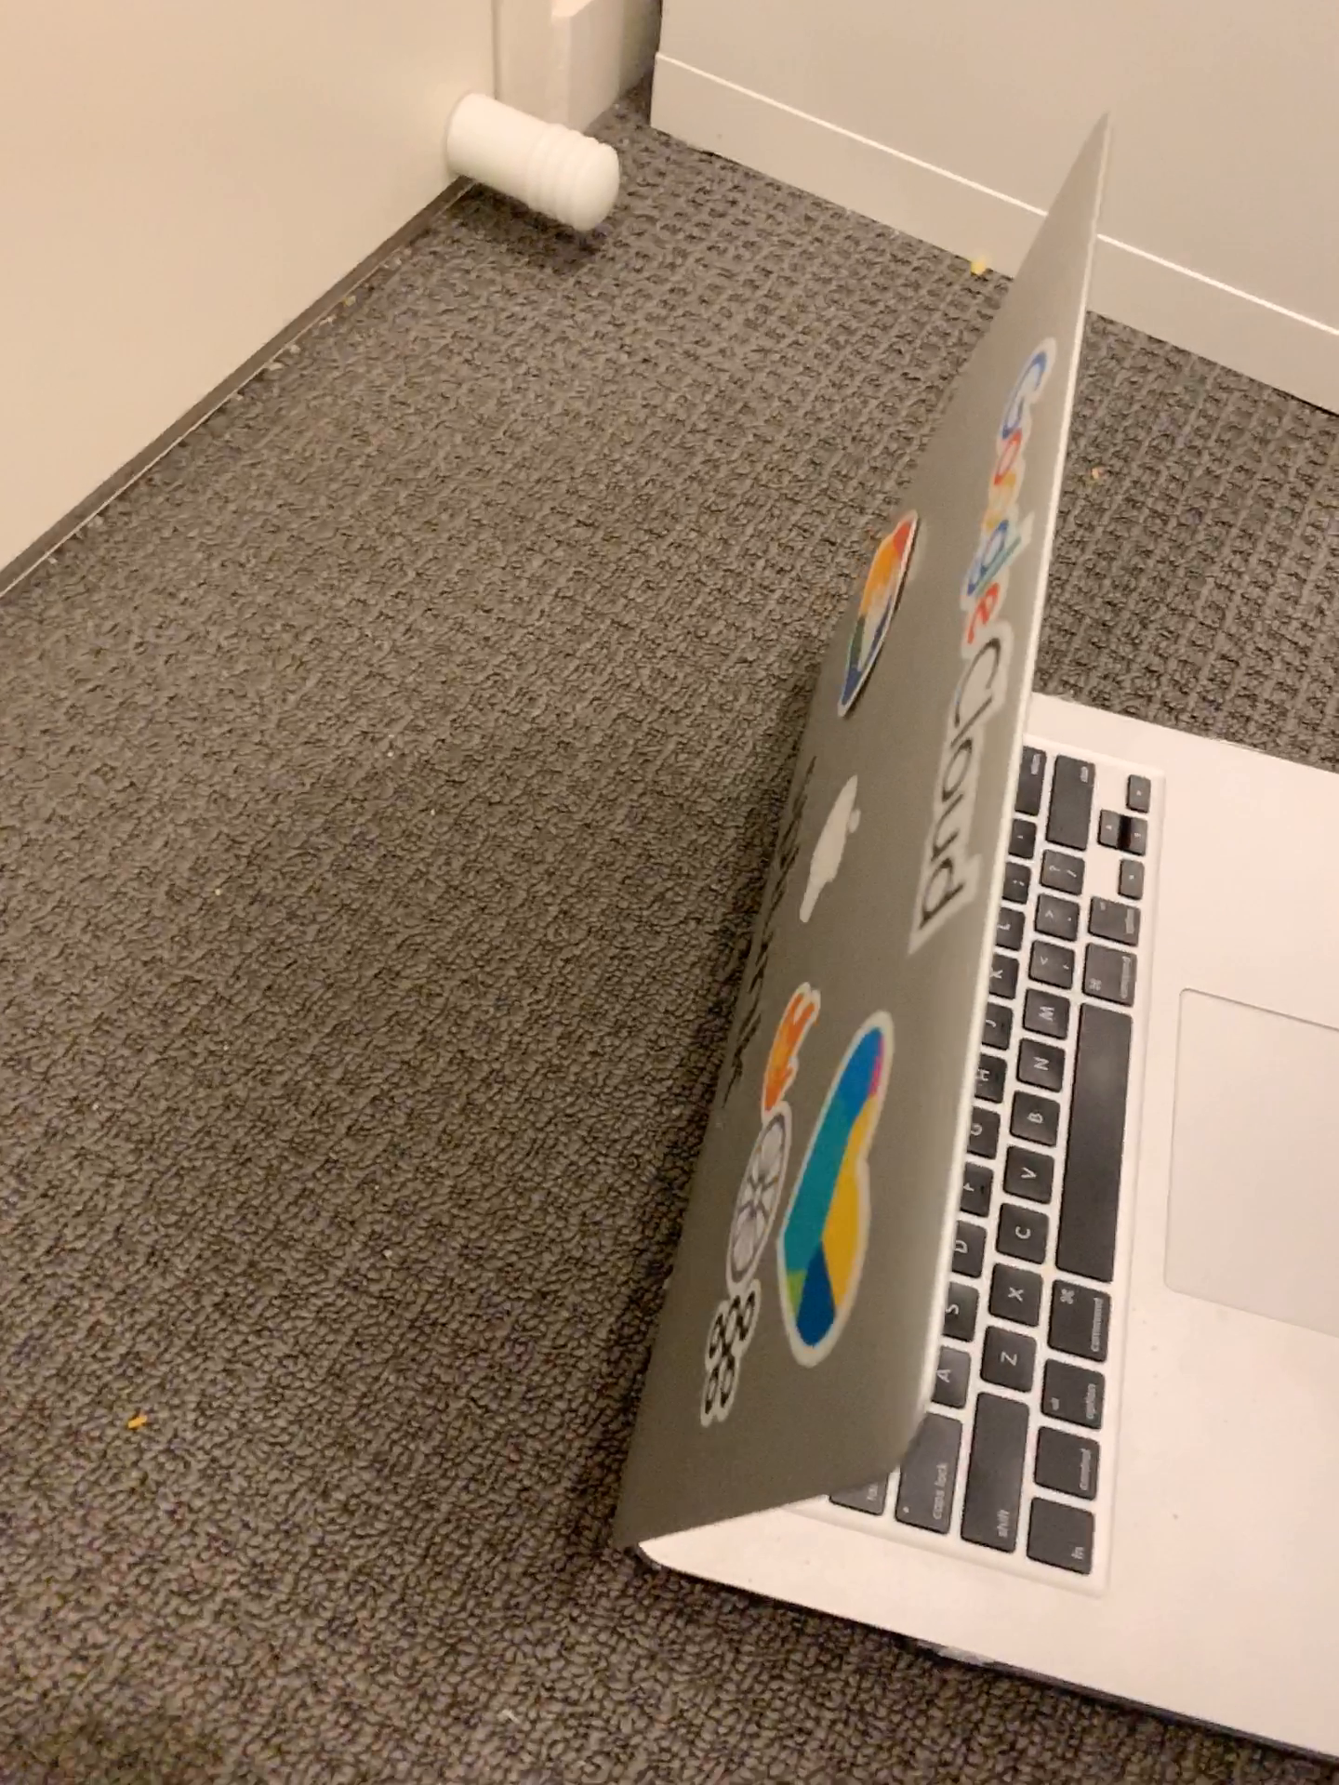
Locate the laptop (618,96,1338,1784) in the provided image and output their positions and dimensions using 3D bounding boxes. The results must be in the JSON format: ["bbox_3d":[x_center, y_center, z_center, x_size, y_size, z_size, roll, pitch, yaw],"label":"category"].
[{"bbox_3d":[0.143,0.017,0.348,0.226,0.215,0.323,14,60,2],"label":"laptop"}]
